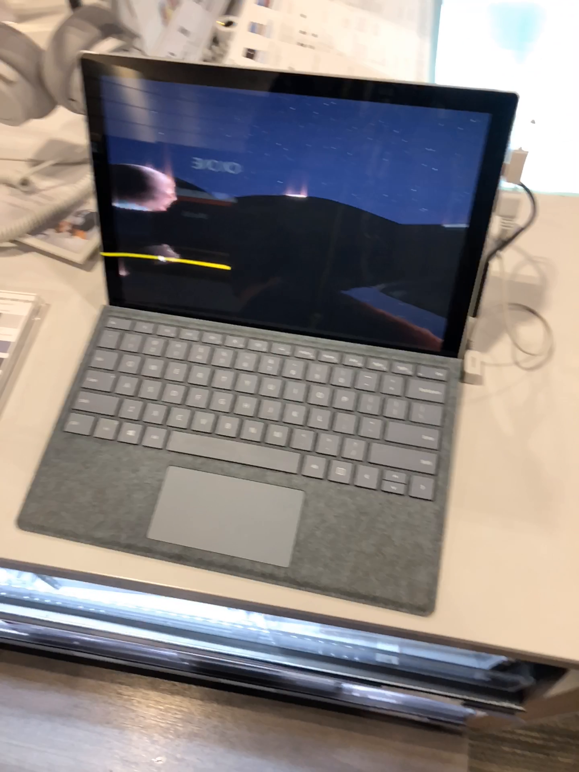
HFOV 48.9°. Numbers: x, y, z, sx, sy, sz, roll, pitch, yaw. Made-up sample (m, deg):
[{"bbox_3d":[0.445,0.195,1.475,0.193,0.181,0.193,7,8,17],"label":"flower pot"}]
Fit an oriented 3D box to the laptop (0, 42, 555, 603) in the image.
[{"bbox_3d":[-0.010,-0.050,0.403,0.261,0.143,0.284,10,65,13],"label":"laptop"}]
